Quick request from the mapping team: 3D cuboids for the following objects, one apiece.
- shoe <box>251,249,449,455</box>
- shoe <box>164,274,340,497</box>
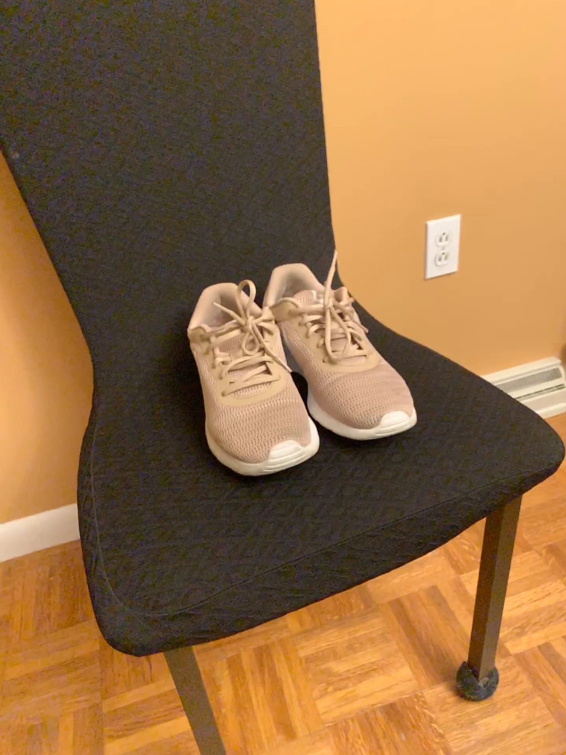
[{"bbox_3d":[0.059,-0.044,0.634,0.110,0.089,0.262,-15,34,-12],"label":"shoe"},{"bbox_3d":[-0.045,-0.010,0.627,0.110,0.089,0.272,-15,34,-12],"label":"shoe"}]
